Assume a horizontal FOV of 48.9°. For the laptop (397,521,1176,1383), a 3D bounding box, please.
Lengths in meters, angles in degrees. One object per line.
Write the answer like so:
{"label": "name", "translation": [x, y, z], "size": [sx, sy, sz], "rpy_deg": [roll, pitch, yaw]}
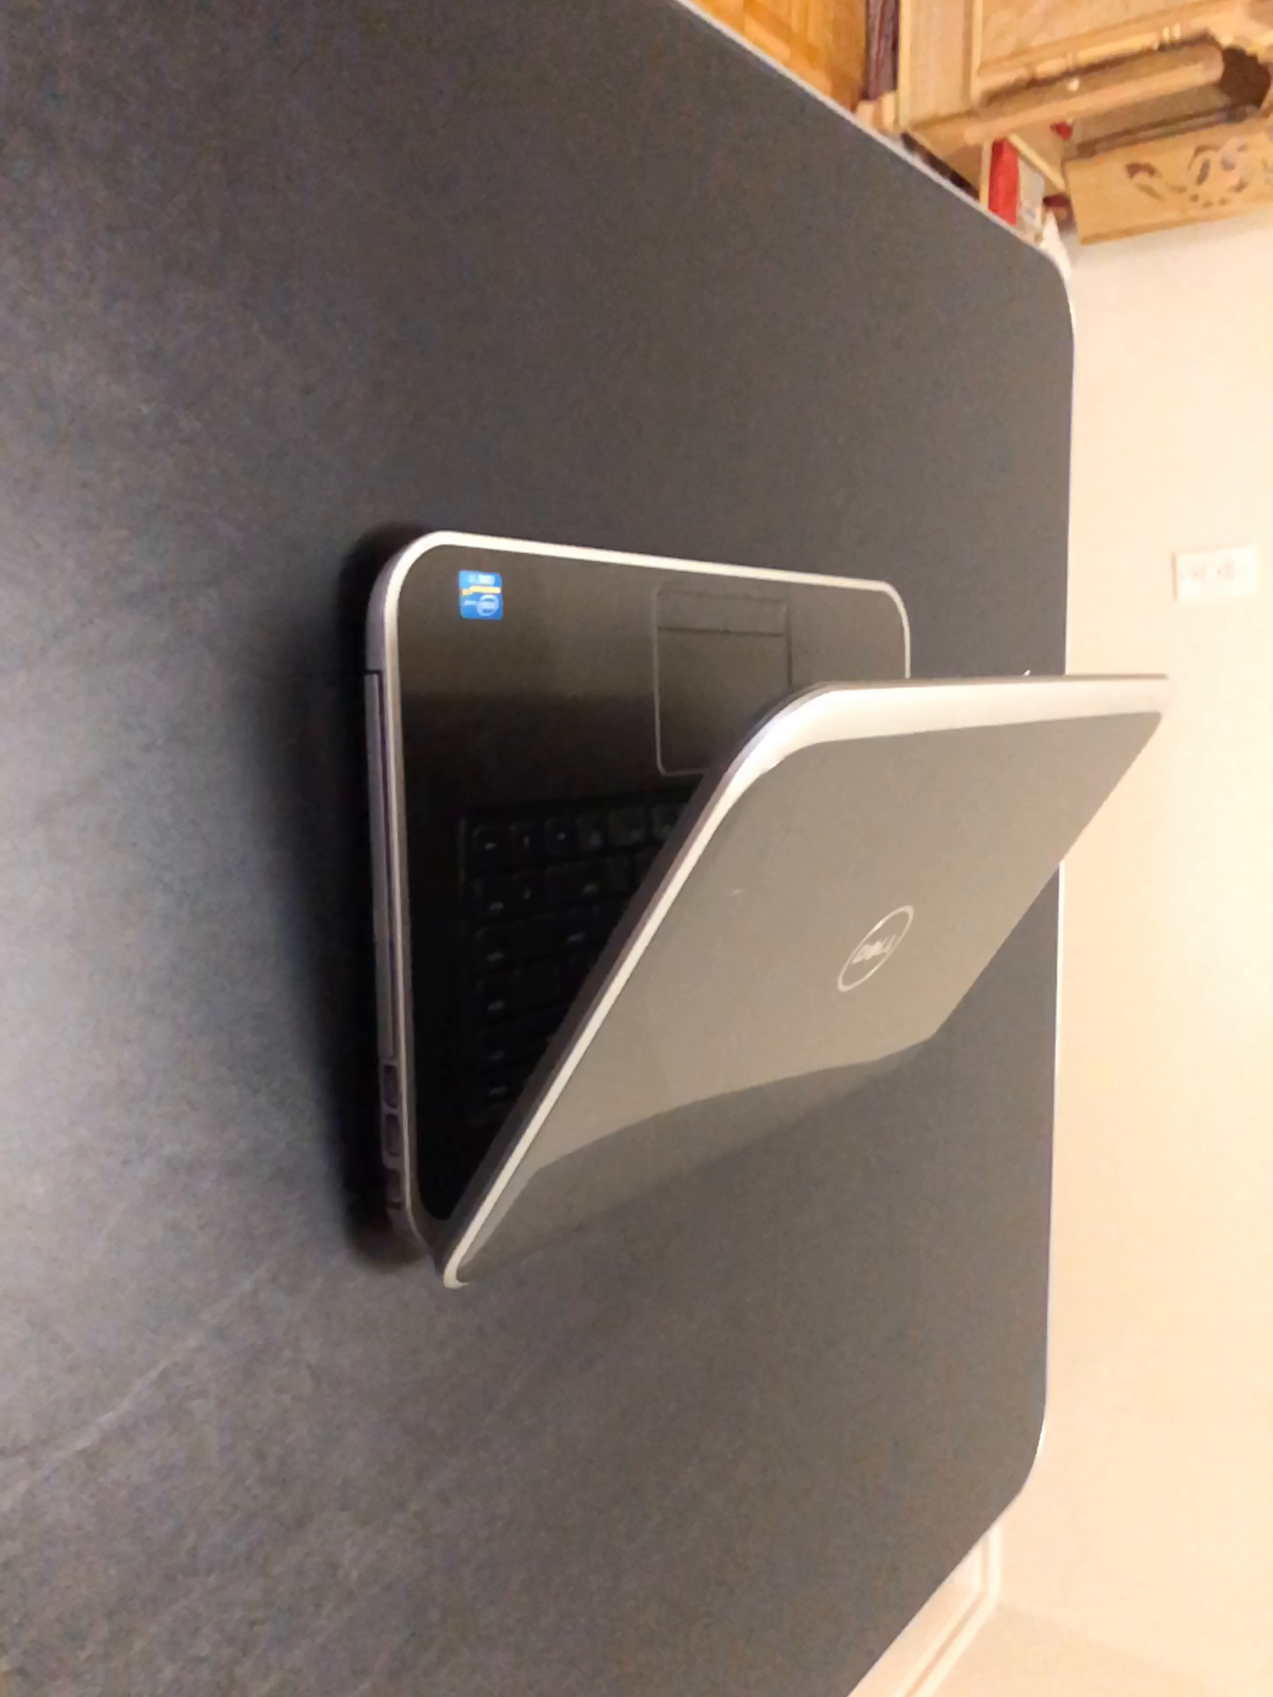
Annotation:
{"label": "laptop", "translation": [0.089, 0.011, 0.563], "size": [0.358, 0.137, 0.239], "rpy_deg": [-10, 102, -53]}
